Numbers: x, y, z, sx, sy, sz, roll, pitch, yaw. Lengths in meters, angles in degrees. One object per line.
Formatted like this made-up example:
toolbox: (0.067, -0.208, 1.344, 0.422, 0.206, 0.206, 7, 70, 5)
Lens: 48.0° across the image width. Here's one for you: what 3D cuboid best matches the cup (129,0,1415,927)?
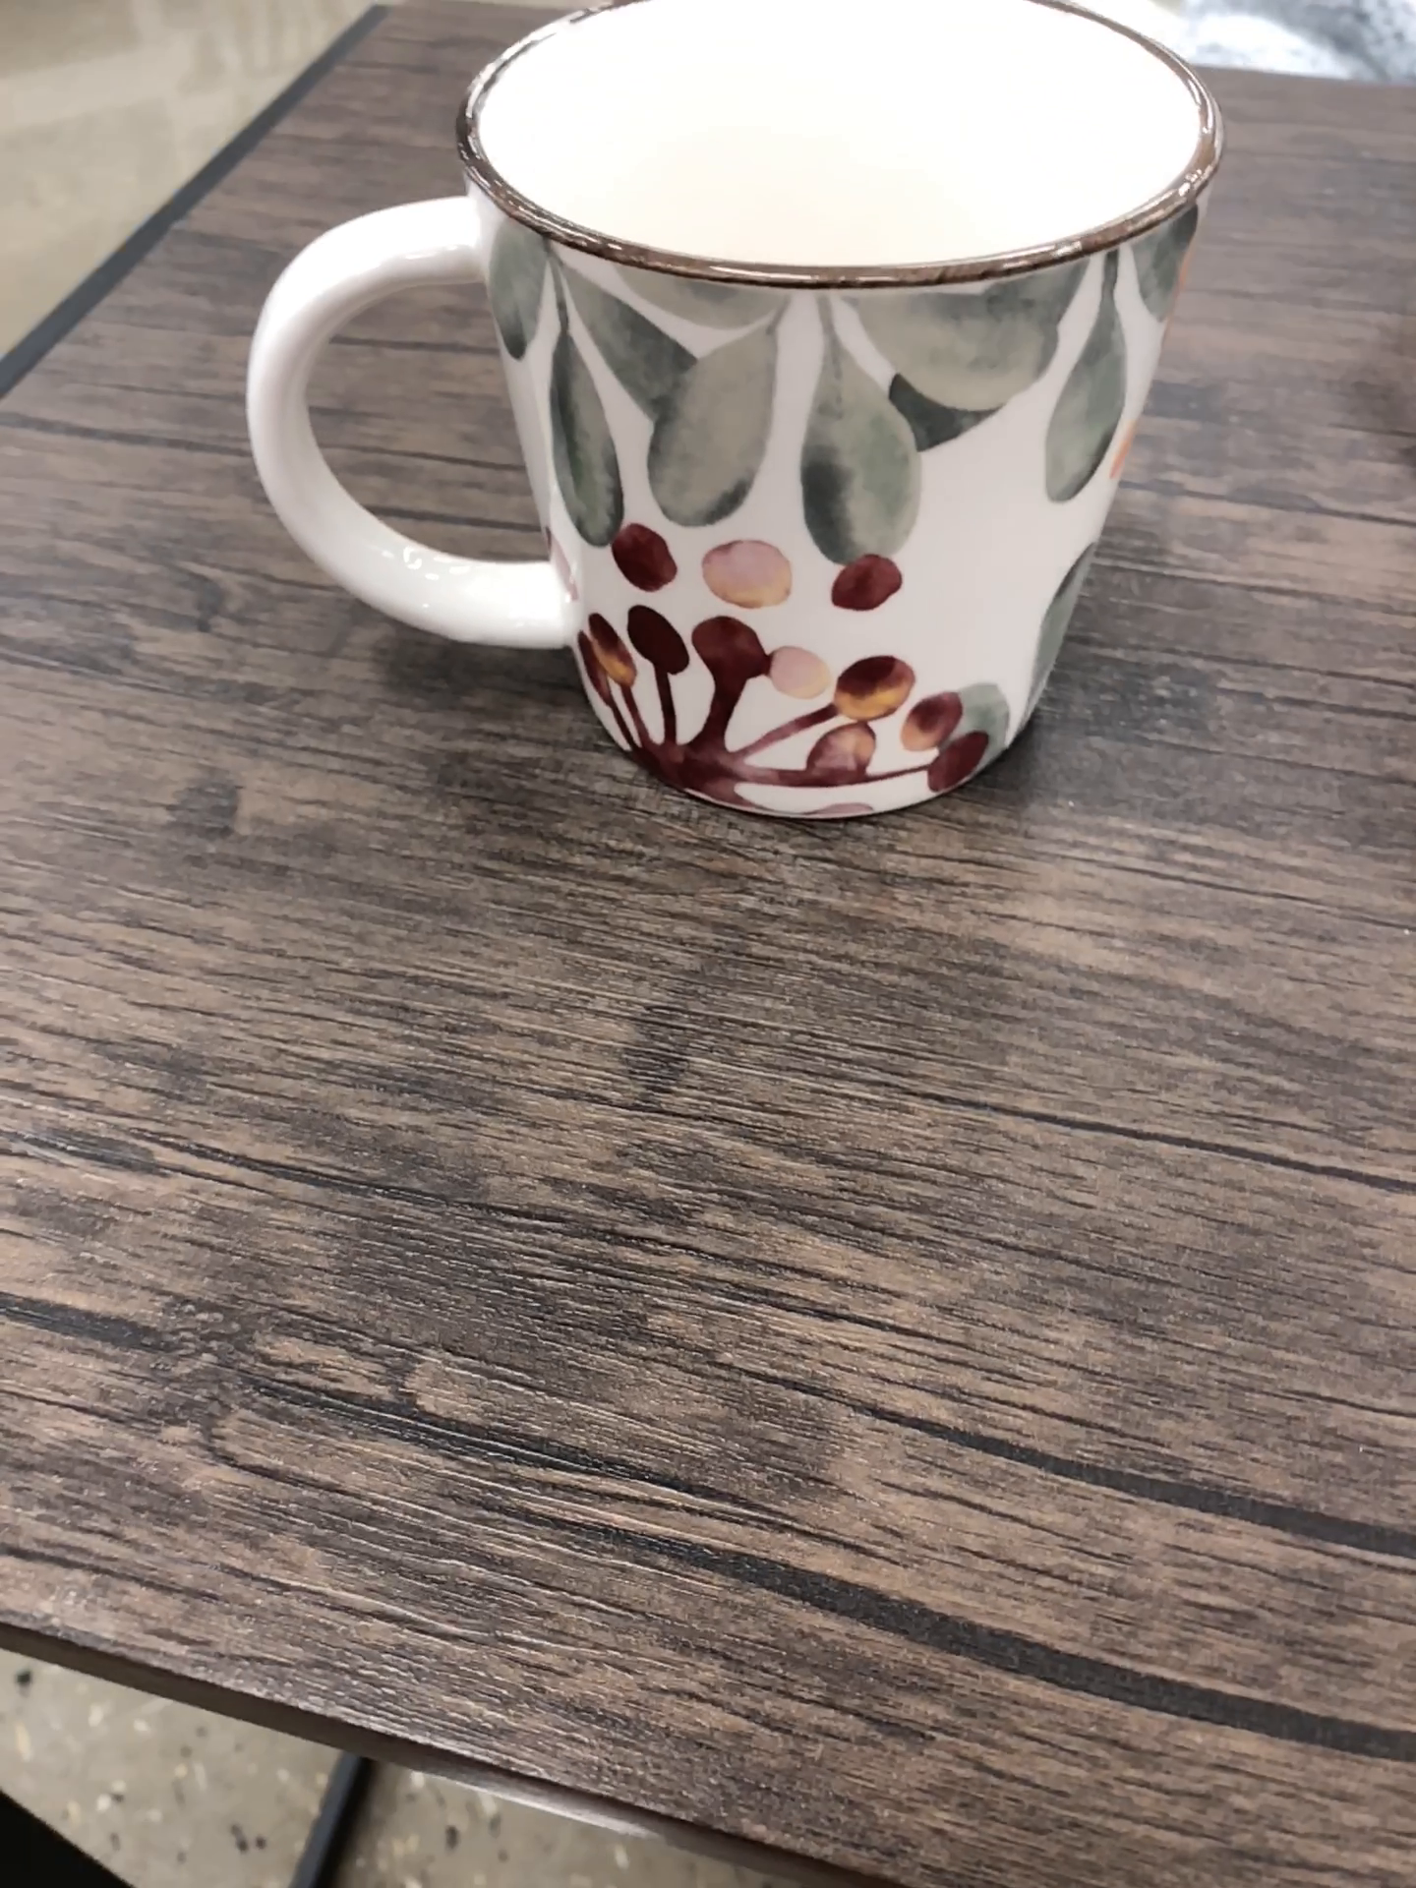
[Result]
cup: (0.004, -0.084, 0.257, 0.150, 0.110, 0.100, -6, 49, -4)
